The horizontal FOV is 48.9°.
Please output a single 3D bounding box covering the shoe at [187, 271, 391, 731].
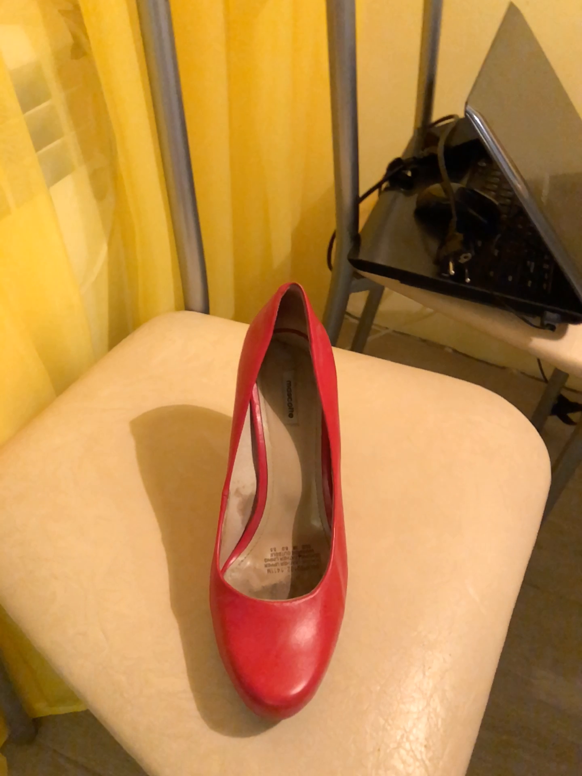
[{"bbox_3d":[-0.003,0.054,0.378,0.080,0.129,0.231,4,45,-2],"label":"shoe"}]
